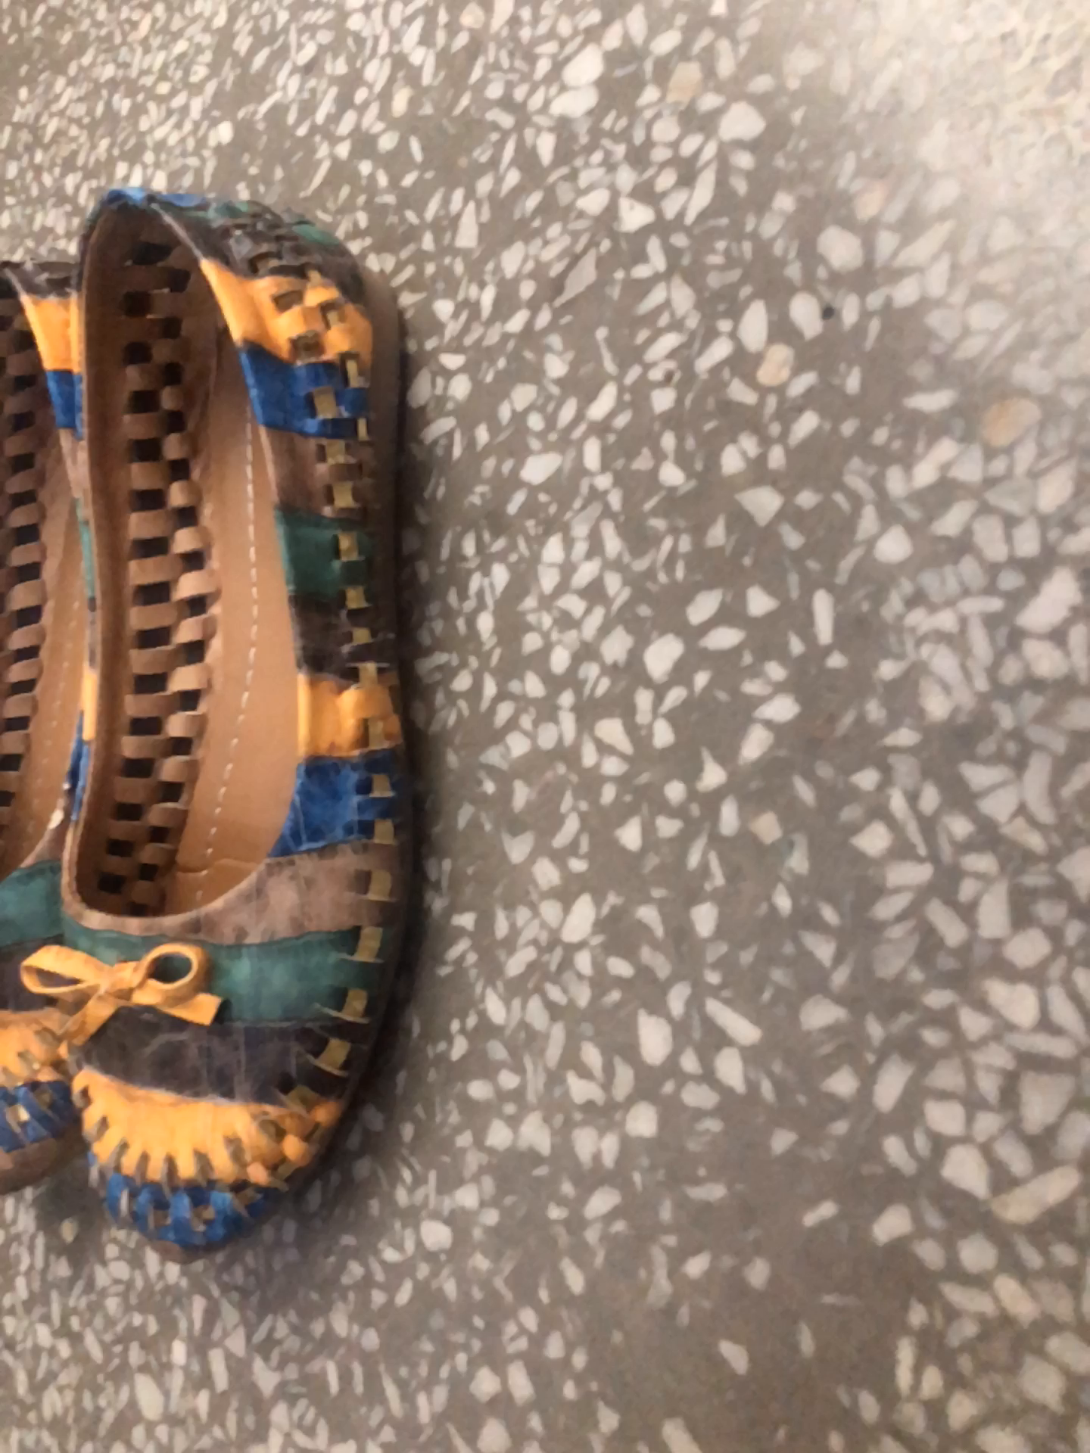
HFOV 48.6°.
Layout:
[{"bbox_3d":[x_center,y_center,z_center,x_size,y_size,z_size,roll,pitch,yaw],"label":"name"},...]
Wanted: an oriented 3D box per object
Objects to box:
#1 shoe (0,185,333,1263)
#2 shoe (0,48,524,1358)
[{"bbox_3d":[-0.129,-0.001,0.319,0.090,0.074,0.237,4,86,39],"label":"shoe"},{"bbox_3d":[-0.070,-0.005,0.272,0.090,0.074,0.237,-1,82,39],"label":"shoe"}]
